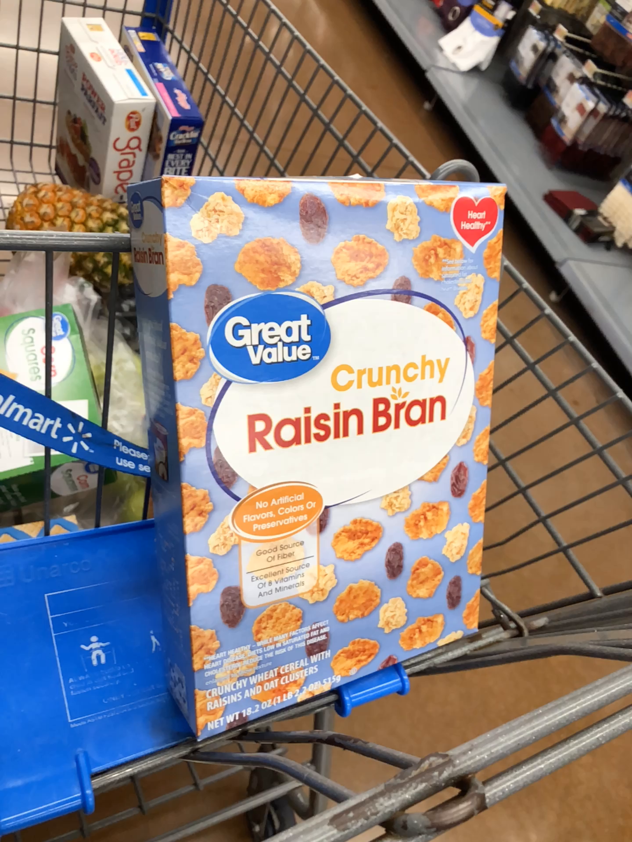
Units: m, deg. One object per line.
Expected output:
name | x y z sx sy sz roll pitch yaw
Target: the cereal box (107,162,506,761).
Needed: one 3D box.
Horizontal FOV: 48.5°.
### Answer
cereal box | 0.004 0.011 0.396 0.200 0.280 0.070 -10 16 -32
